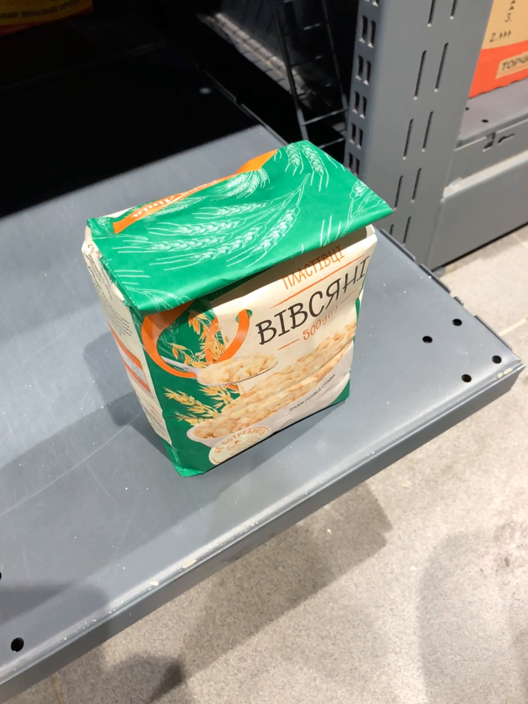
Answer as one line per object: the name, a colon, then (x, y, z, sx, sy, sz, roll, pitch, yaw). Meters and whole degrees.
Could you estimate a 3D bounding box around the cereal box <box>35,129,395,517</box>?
cereal box: (-0.017, -0.008, 0.282, 0.120, 0.139, 0.070, -28, 56, -19)
